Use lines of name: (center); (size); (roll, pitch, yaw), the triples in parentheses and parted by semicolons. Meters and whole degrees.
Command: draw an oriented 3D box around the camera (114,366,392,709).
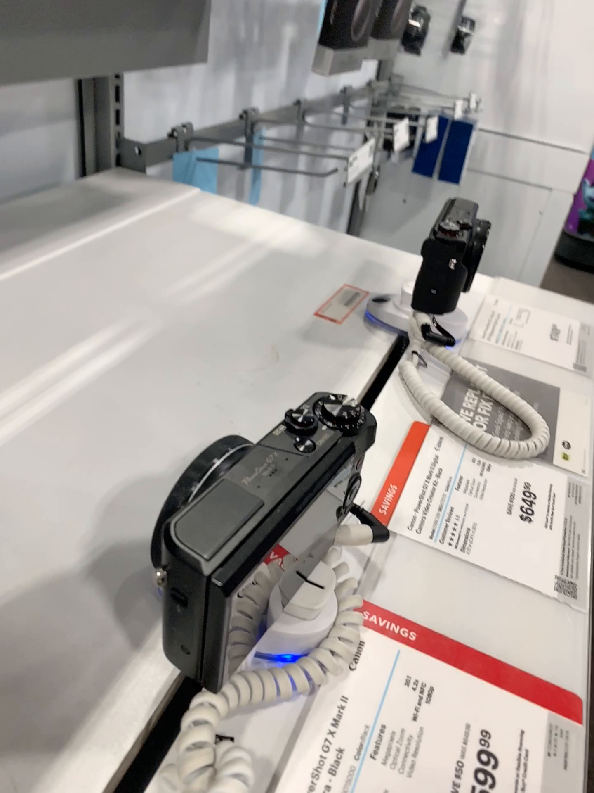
camera: (-0.012, 0.044, 0.230); (0.044, 0.060, 0.110); (24, 37, 20)
